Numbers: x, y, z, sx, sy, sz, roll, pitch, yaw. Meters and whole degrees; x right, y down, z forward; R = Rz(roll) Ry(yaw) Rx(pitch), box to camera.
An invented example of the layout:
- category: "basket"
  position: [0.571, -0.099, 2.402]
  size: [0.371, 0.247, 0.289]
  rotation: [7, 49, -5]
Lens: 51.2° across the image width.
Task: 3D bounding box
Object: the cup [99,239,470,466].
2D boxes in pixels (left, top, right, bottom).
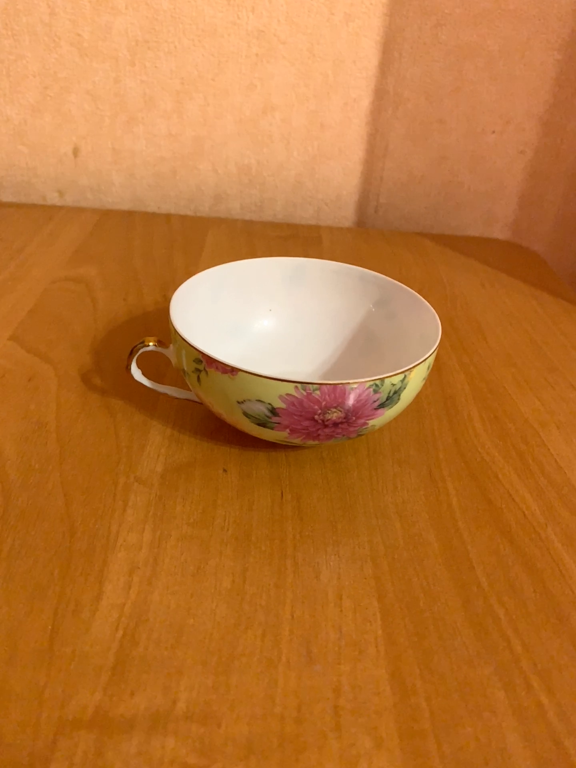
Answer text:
- category: "cup"
  position: [-0.002, -0.015, 0.227]
  size: [0.112, 0.045, 0.079]
  rotation: [3, 33, -3]
